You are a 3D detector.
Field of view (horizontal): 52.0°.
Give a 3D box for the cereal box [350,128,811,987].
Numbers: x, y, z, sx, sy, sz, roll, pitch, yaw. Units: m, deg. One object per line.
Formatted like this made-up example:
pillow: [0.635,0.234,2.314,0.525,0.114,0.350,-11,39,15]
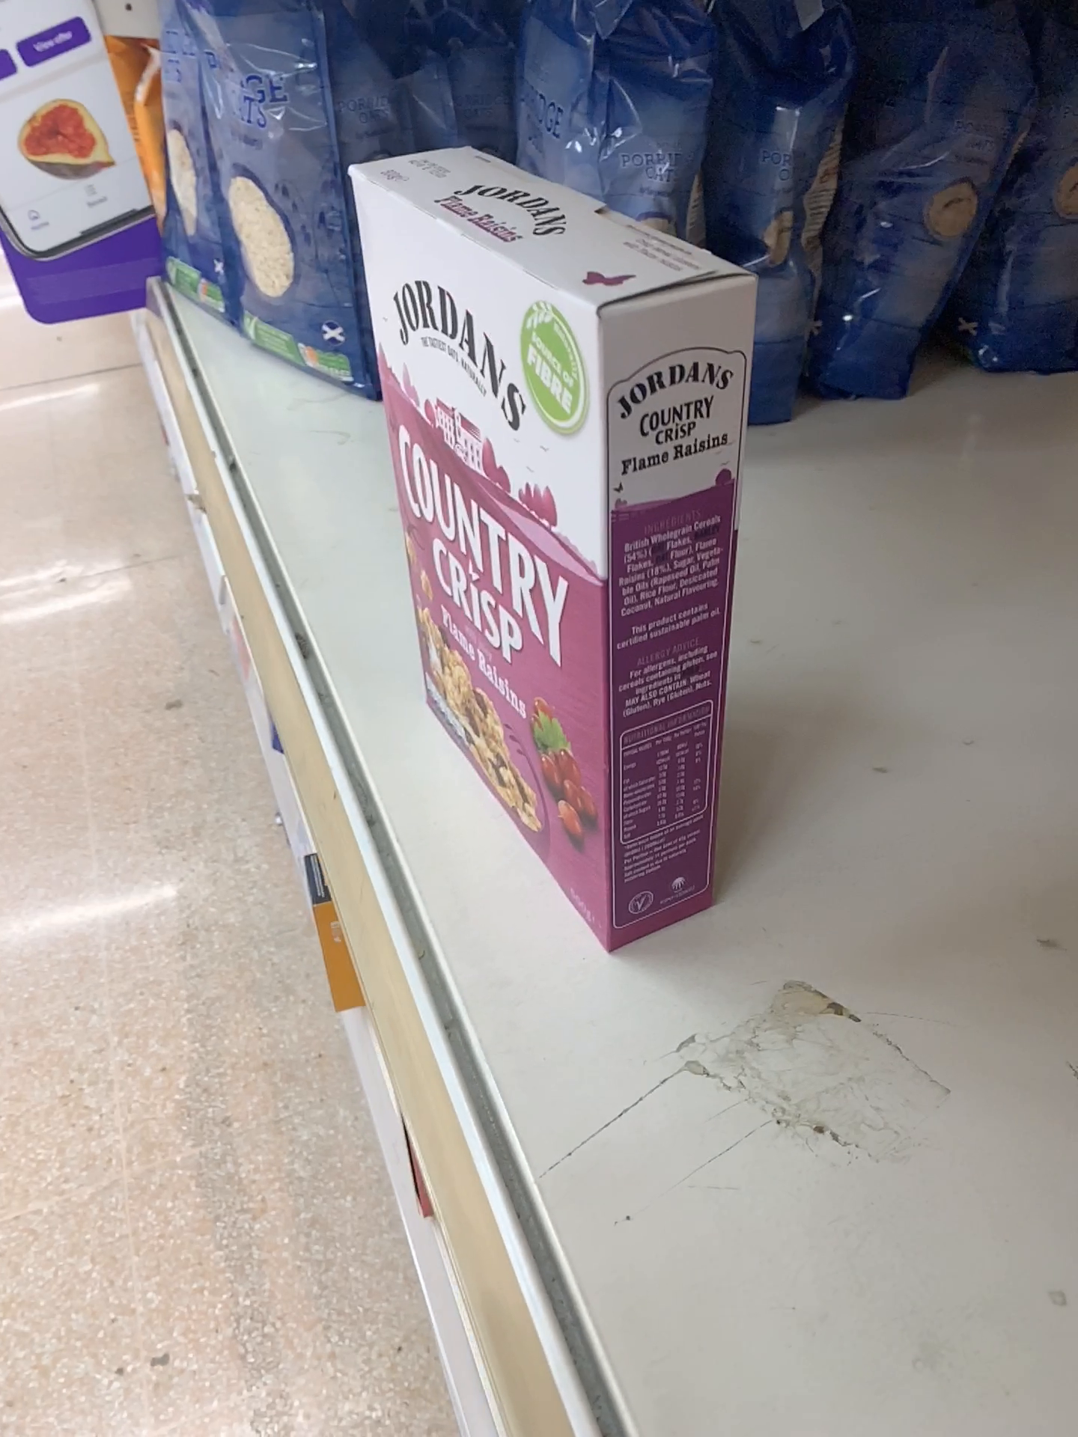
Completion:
cereal box: [0.003,-0.061,0.422,0.050,0.257,0.202,-19,42,-20]
